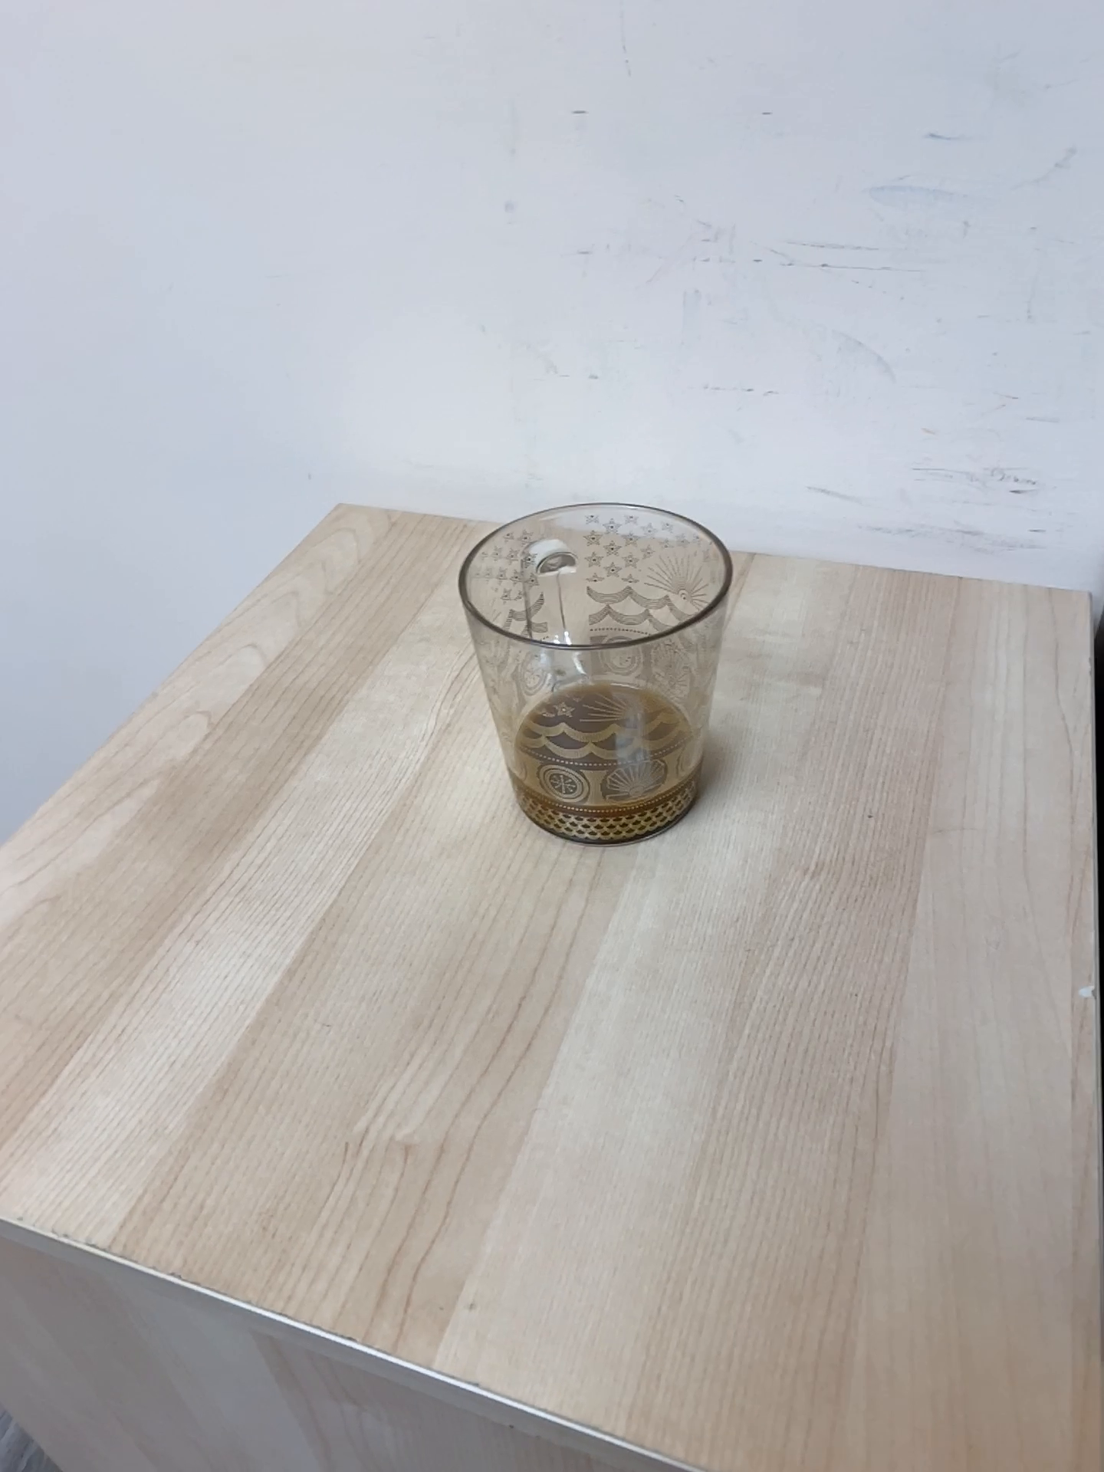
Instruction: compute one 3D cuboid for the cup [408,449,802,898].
[{"bbox_3d":[0.015,-0.029,0.427,0.098,0.098,0.125,-15,40,-14],"label":"cup"}]
